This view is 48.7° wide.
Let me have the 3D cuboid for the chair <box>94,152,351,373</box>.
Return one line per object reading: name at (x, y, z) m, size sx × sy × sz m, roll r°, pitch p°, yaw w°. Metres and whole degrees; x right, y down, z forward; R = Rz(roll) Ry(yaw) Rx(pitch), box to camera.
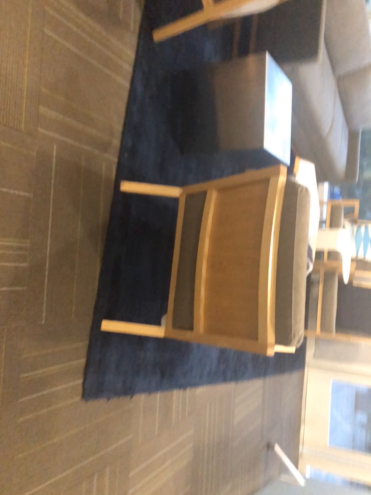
chair at (0.232, 0.108, 1.768) m, size 0.836 × 0.773 × 0.671 m, roll 24°, pitch 70°, yaw -59°
